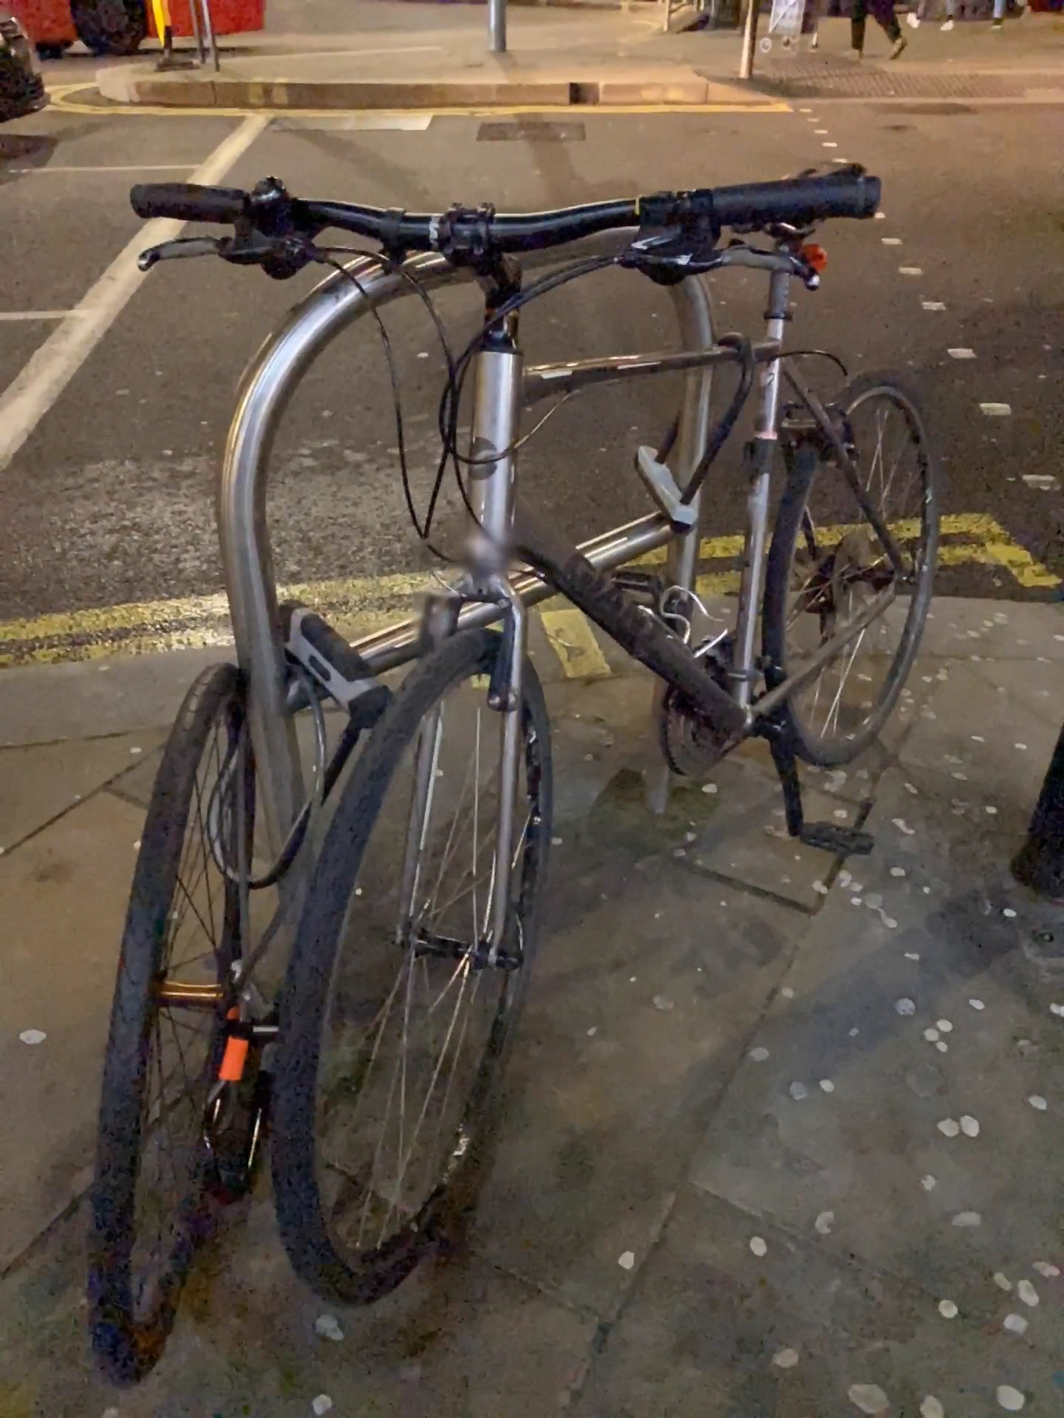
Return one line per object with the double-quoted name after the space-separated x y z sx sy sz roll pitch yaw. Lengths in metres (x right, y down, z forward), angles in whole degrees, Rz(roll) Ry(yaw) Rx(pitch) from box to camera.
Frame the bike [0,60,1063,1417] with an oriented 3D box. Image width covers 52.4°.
0.154 -0.200 1.509 0.709 1.124 1.828 20 39 27 "bike"
